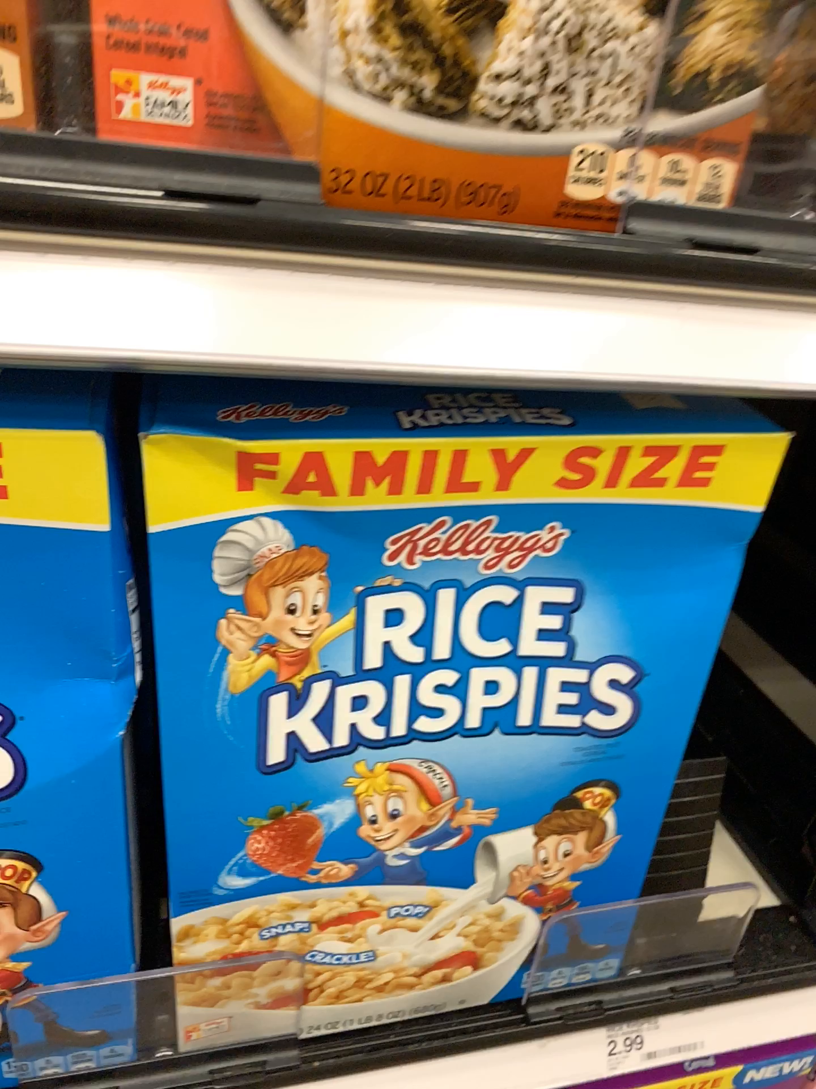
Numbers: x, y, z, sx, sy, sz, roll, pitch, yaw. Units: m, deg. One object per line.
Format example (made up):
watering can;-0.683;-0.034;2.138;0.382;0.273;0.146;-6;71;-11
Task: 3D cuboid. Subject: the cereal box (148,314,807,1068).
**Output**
cereal box;0.006;0.079;0.422;0.250;0.348;0.100;-2;29;-18
